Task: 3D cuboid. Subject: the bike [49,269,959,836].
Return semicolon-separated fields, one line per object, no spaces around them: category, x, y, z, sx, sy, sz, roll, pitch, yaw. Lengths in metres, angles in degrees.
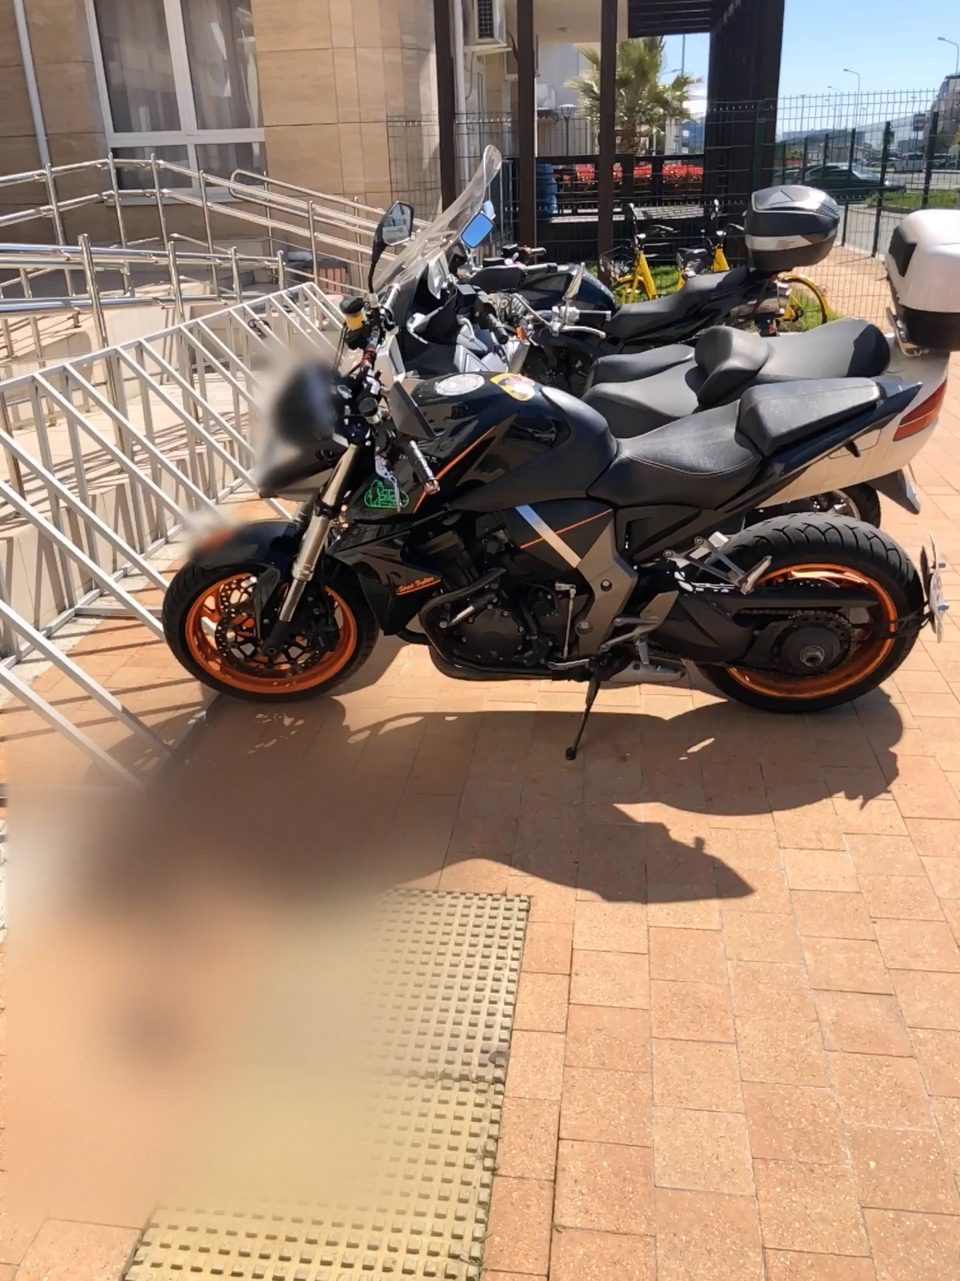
bike;0.126;-0.271;2.640;1.949;1.170;0.799;1;23;5
